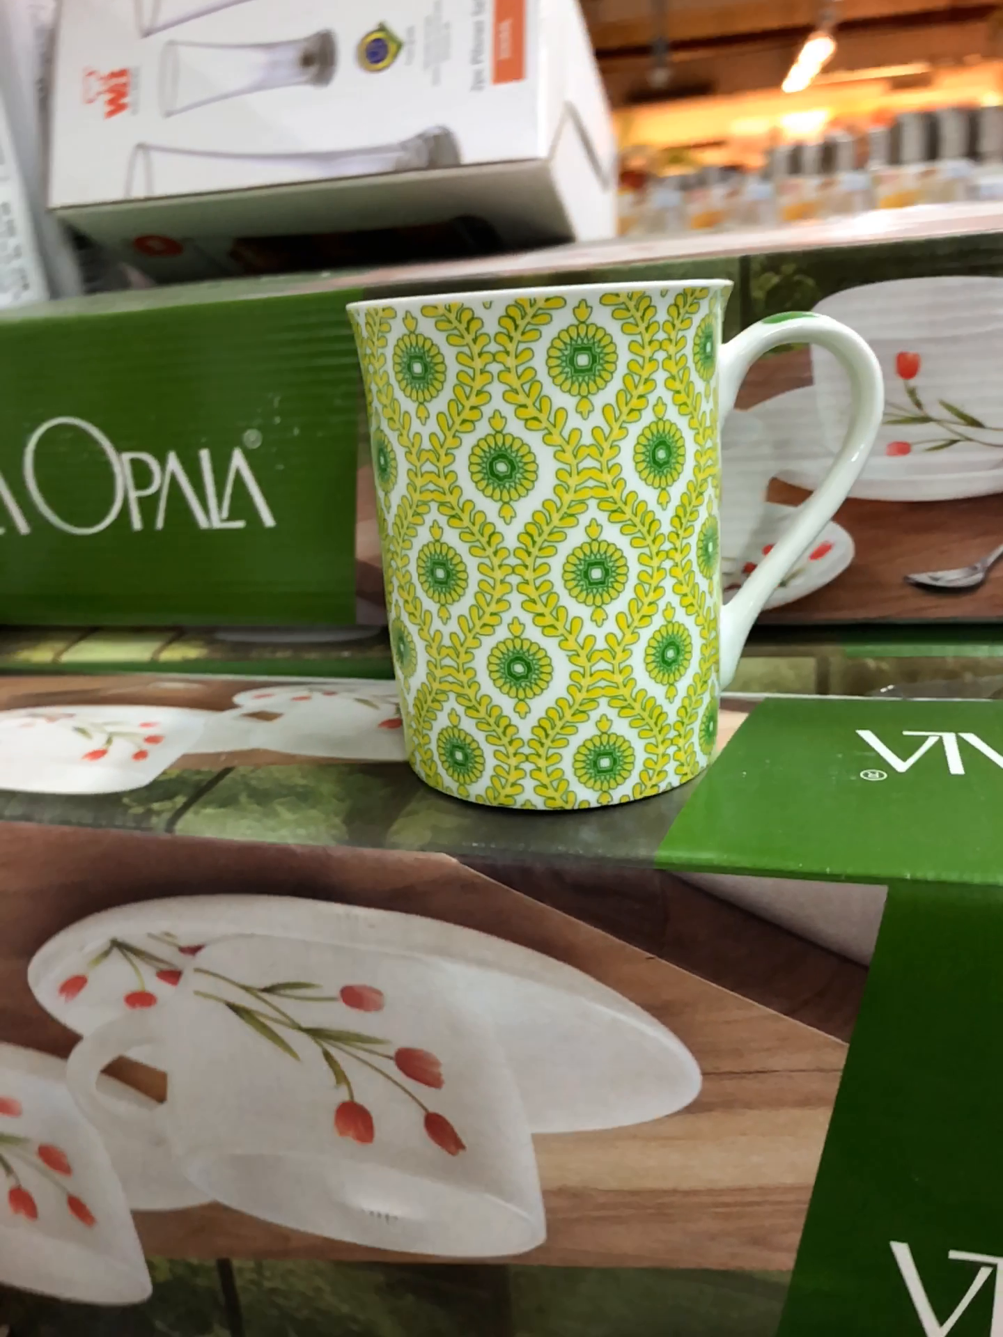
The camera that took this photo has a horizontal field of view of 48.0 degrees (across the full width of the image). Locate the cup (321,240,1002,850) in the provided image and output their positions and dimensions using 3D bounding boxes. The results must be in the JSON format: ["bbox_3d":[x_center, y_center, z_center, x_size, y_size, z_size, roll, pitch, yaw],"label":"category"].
[{"bbox_3d":[0.027,-0.029,0.220,0.110,0.090,0.080,-6,14,-12],"label":"cup"}]
